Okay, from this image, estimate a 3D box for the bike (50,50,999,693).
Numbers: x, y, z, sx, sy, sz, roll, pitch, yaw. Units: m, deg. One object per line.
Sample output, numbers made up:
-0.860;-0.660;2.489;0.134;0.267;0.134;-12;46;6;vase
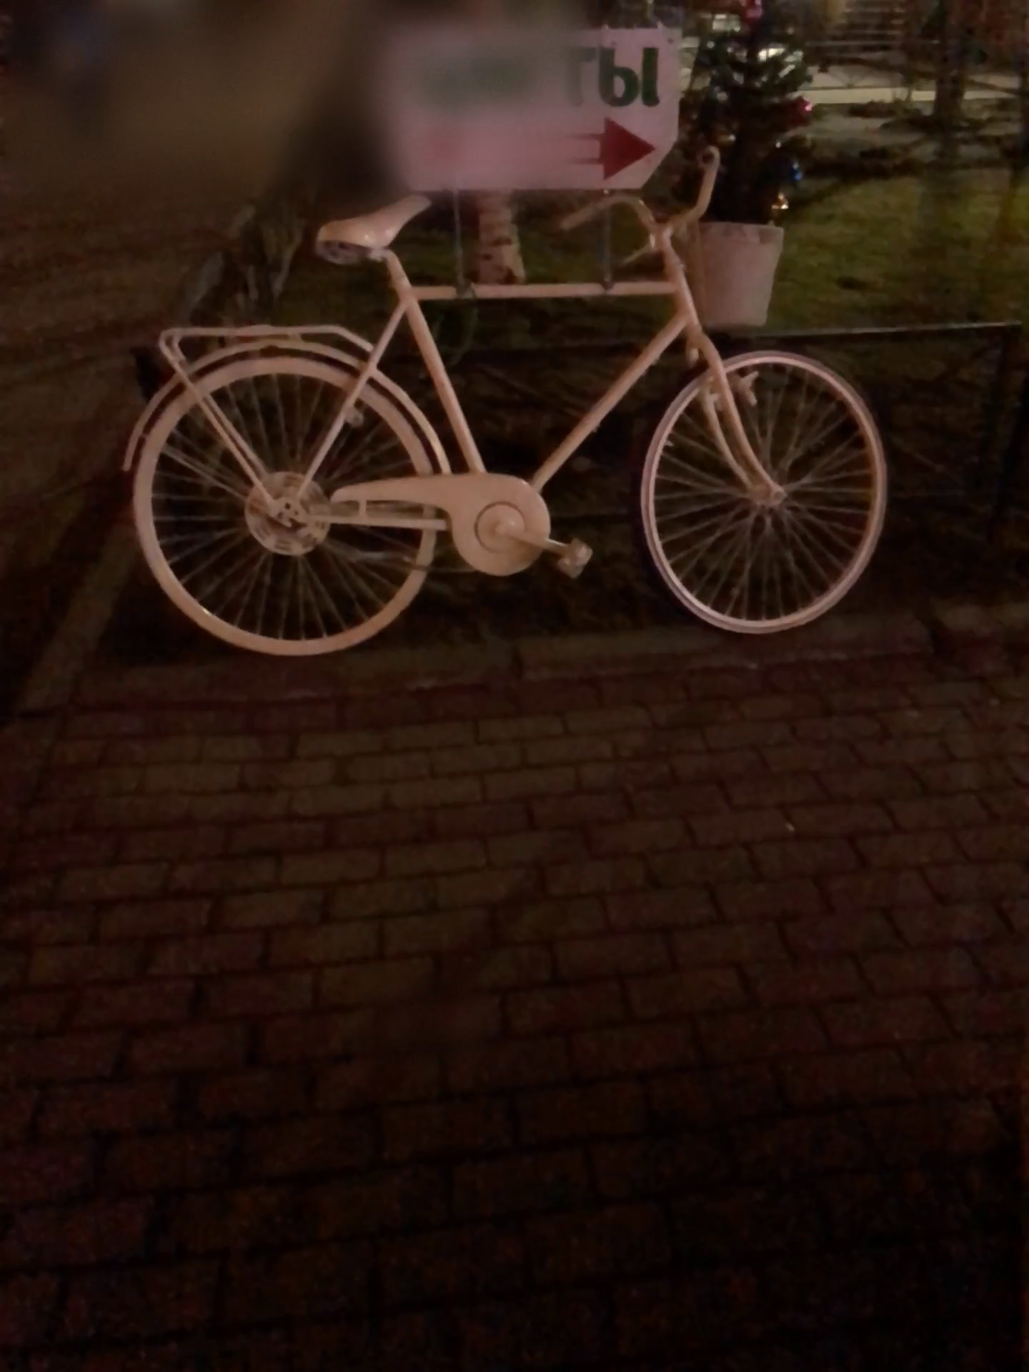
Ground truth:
0.009;-0.763;2.676;1.828;1.118;0.609;-8;33;-6;bike
